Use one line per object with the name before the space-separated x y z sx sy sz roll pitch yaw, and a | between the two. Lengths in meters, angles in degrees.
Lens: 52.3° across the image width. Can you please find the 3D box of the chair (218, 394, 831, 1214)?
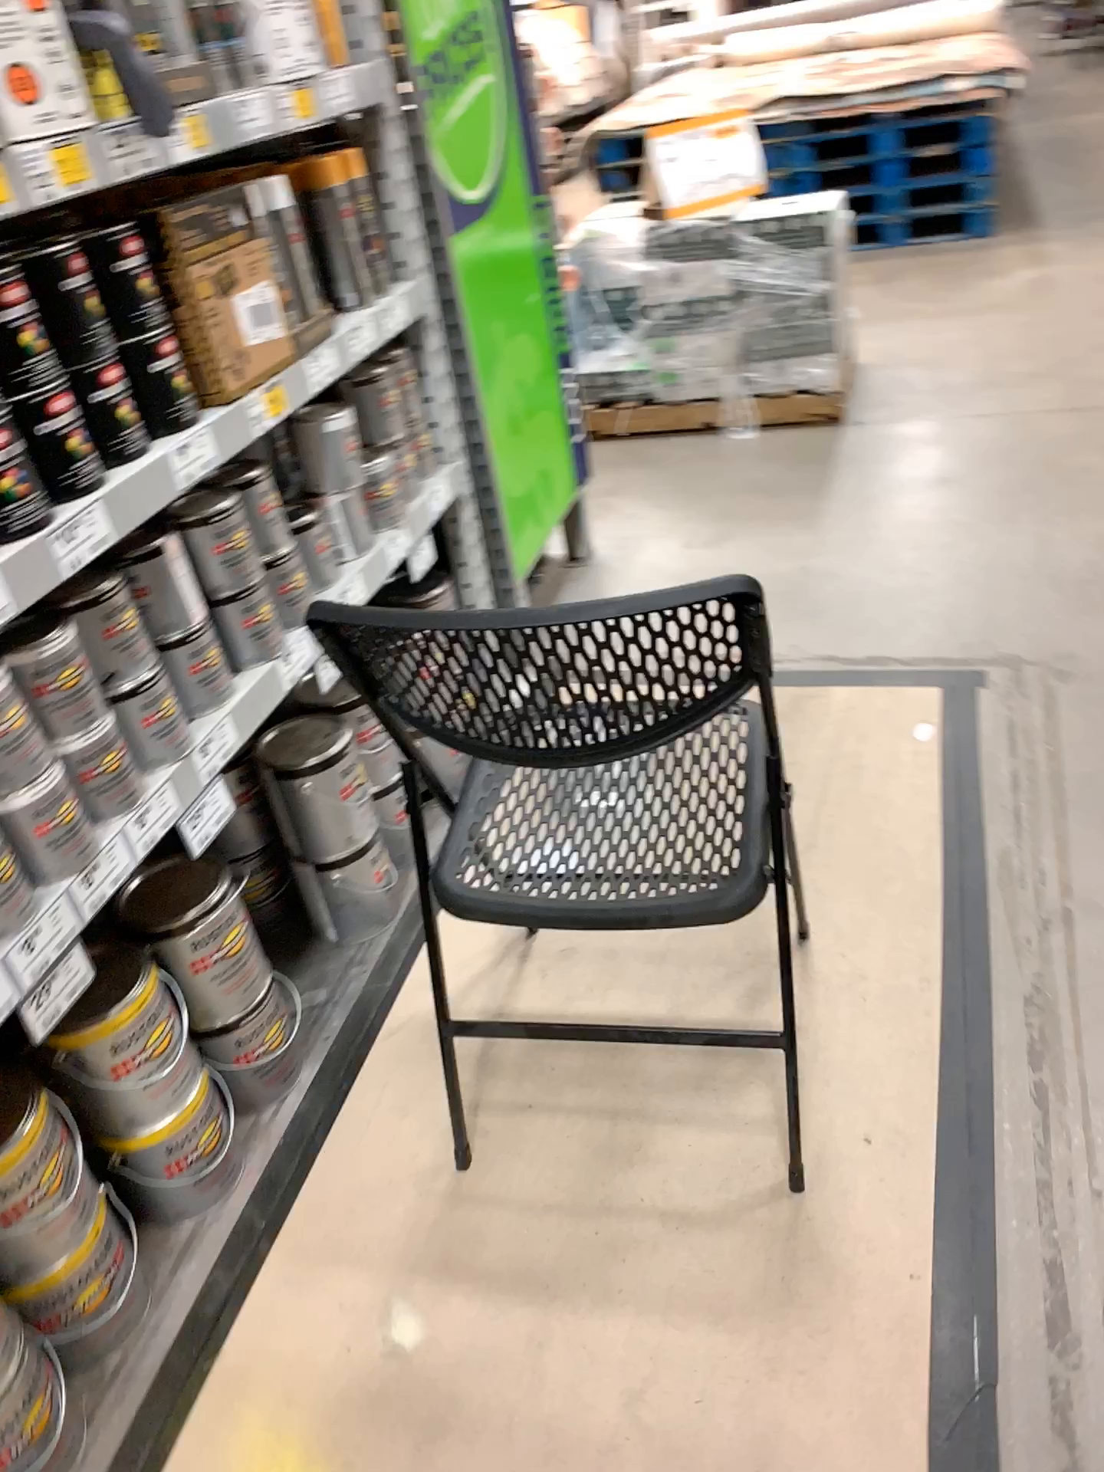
chair | 0.061 0.089 1.388 0.518 0.814 0.518 -2 33 14
